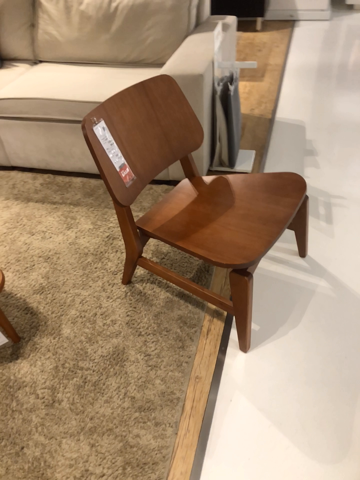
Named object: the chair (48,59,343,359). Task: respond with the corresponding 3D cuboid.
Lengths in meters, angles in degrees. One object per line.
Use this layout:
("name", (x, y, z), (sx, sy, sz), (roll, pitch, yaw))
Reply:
("chair", (0.078, -0.146, 1.344), (0.631, 0.655, 0.583), (22, 48, 27))
